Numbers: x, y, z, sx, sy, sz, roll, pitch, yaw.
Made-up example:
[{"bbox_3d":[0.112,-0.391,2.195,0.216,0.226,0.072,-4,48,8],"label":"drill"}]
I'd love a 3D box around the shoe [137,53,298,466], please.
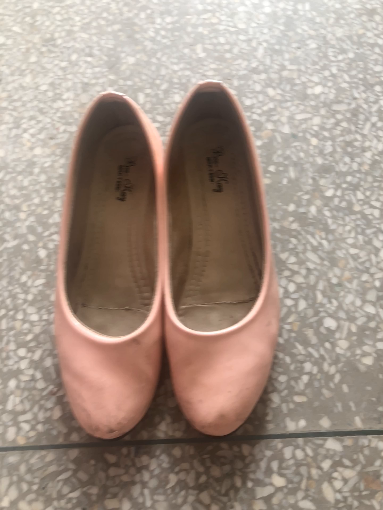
[{"bbox_3d":[0.016,-0.002,0.301,0.090,0.070,0.260,-1,78,5],"label":"shoe"}]

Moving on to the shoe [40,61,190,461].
[{"bbox_3d":[-0.052,0.003,0.314,0.090,0.070,0.260,-1,85,5],"label":"shoe"}]
